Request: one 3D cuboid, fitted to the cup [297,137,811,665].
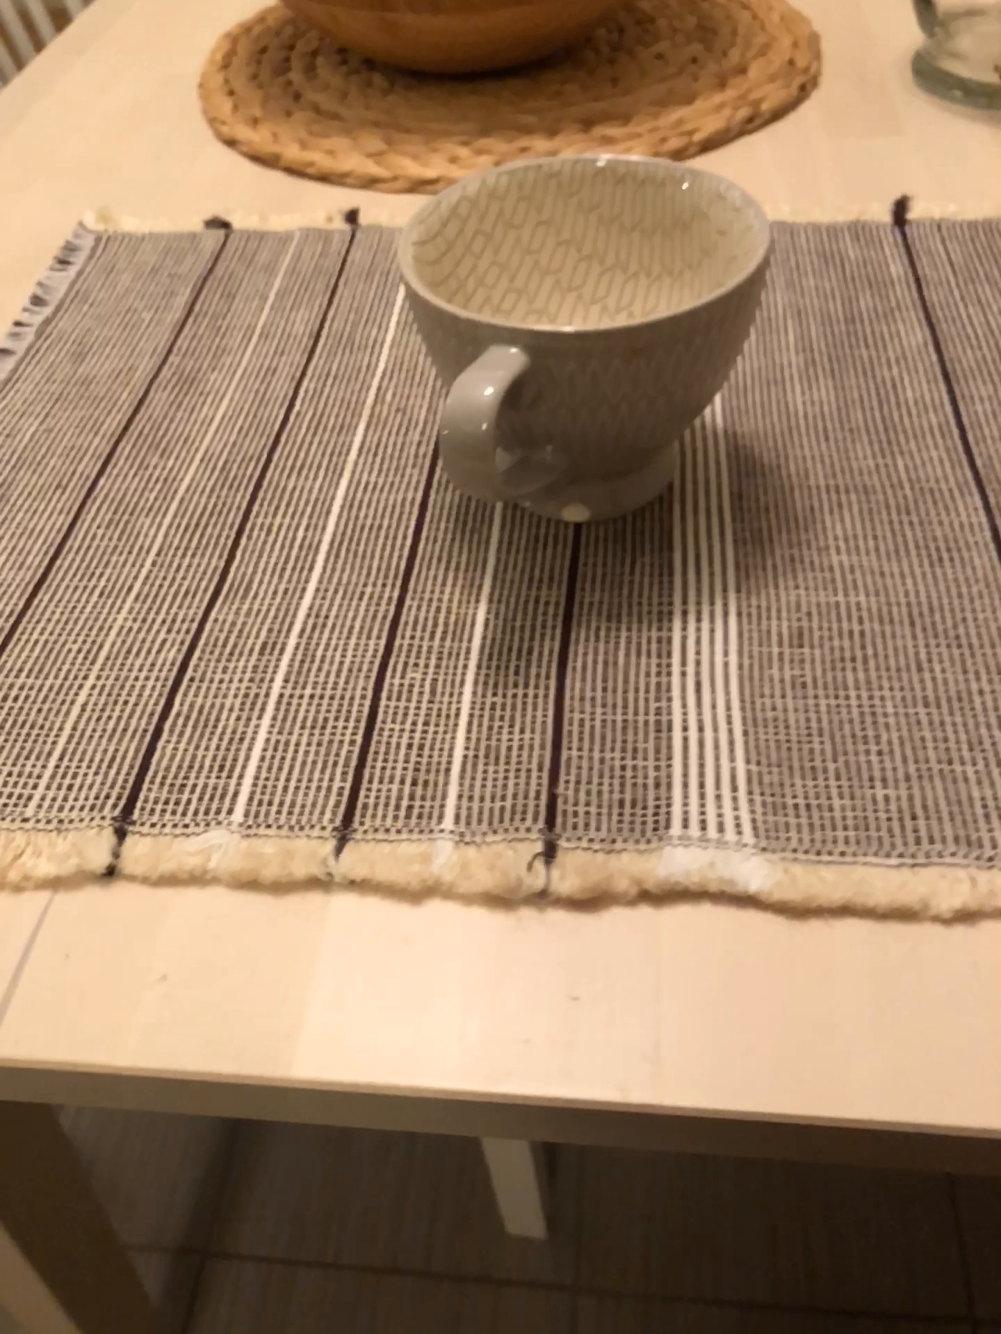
[{"bbox_3d":[0.026,-0.092,0.351,0.110,0.080,0.151,12,49,15],"label":"cup"}]
